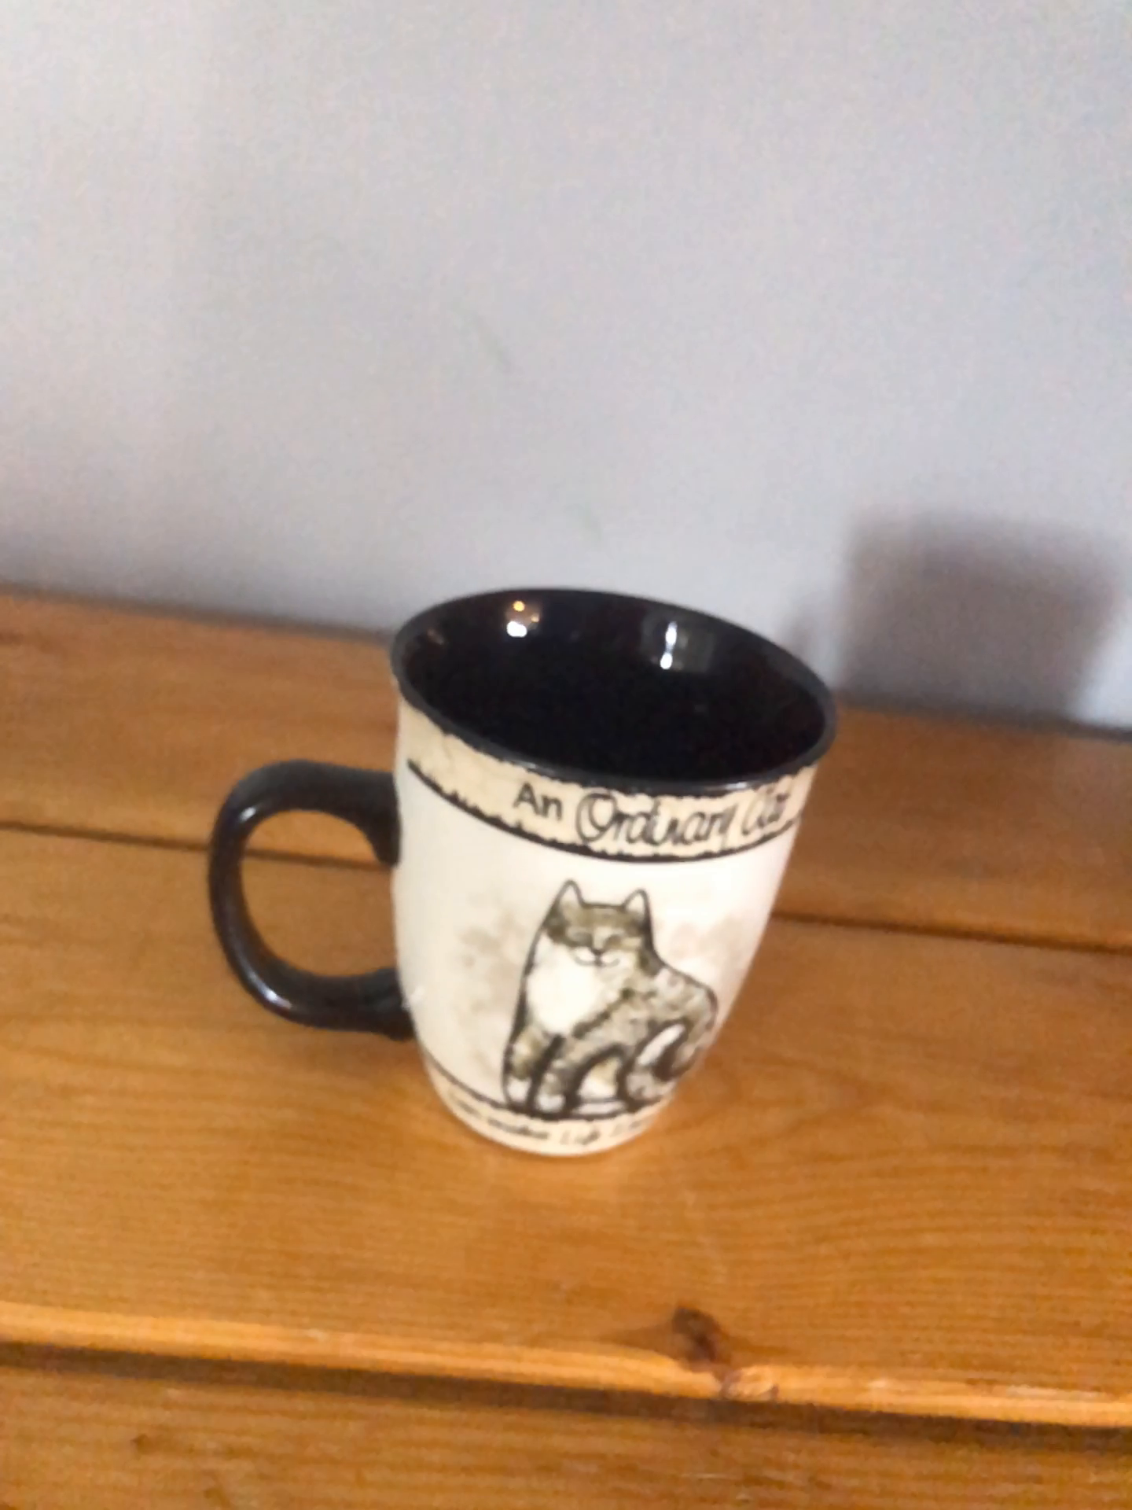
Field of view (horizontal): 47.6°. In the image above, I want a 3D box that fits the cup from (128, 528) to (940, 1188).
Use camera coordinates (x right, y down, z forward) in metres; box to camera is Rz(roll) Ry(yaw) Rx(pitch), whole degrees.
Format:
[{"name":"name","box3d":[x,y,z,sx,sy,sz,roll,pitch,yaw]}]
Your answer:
[{"name":"cup","box3d":[-0.015,0.022,0.285,0.140,0.100,0.100,4,31,-11]}]
